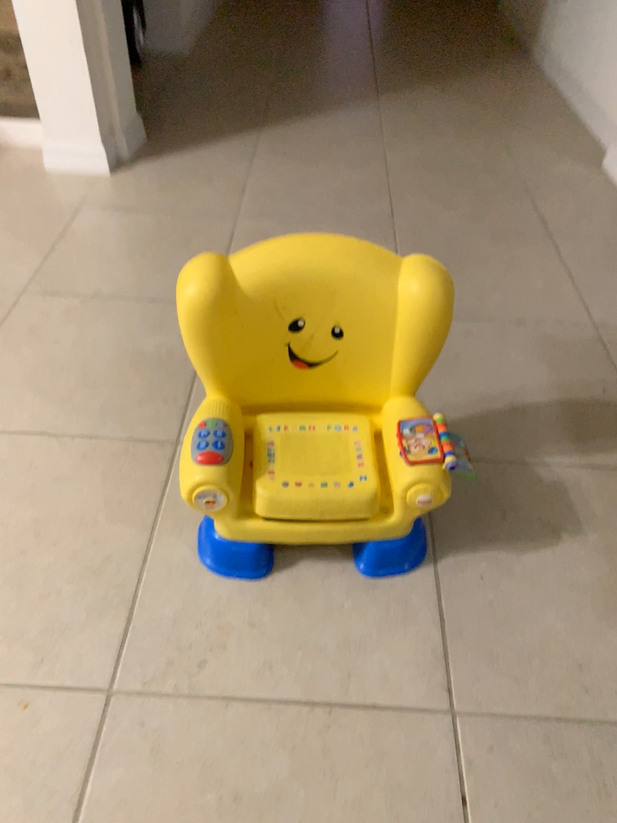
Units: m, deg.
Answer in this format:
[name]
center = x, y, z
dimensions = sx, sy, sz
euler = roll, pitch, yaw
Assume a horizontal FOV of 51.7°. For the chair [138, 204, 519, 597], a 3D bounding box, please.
[chair]
center = 0.011, -0.006, 1.002
dimensions = 0.420, 0.484, 0.375
euler = 1, 43, -2
